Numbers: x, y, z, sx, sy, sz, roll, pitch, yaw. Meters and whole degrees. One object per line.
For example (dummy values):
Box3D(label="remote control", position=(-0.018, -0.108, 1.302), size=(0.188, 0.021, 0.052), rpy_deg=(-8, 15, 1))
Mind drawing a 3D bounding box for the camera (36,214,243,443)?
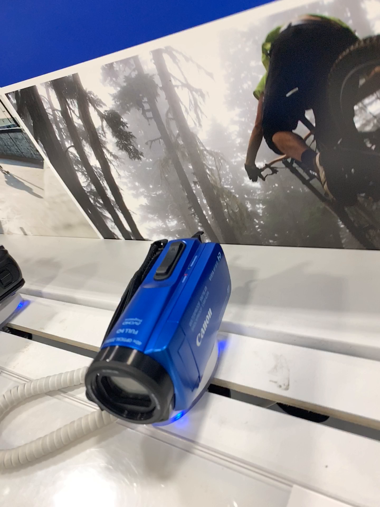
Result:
Box3D(label="camera", position=(-0.019, 0.037, 0.262), size=(0.072, 0.057, 0.144), rpy_deg=(-3, 33, 23))
